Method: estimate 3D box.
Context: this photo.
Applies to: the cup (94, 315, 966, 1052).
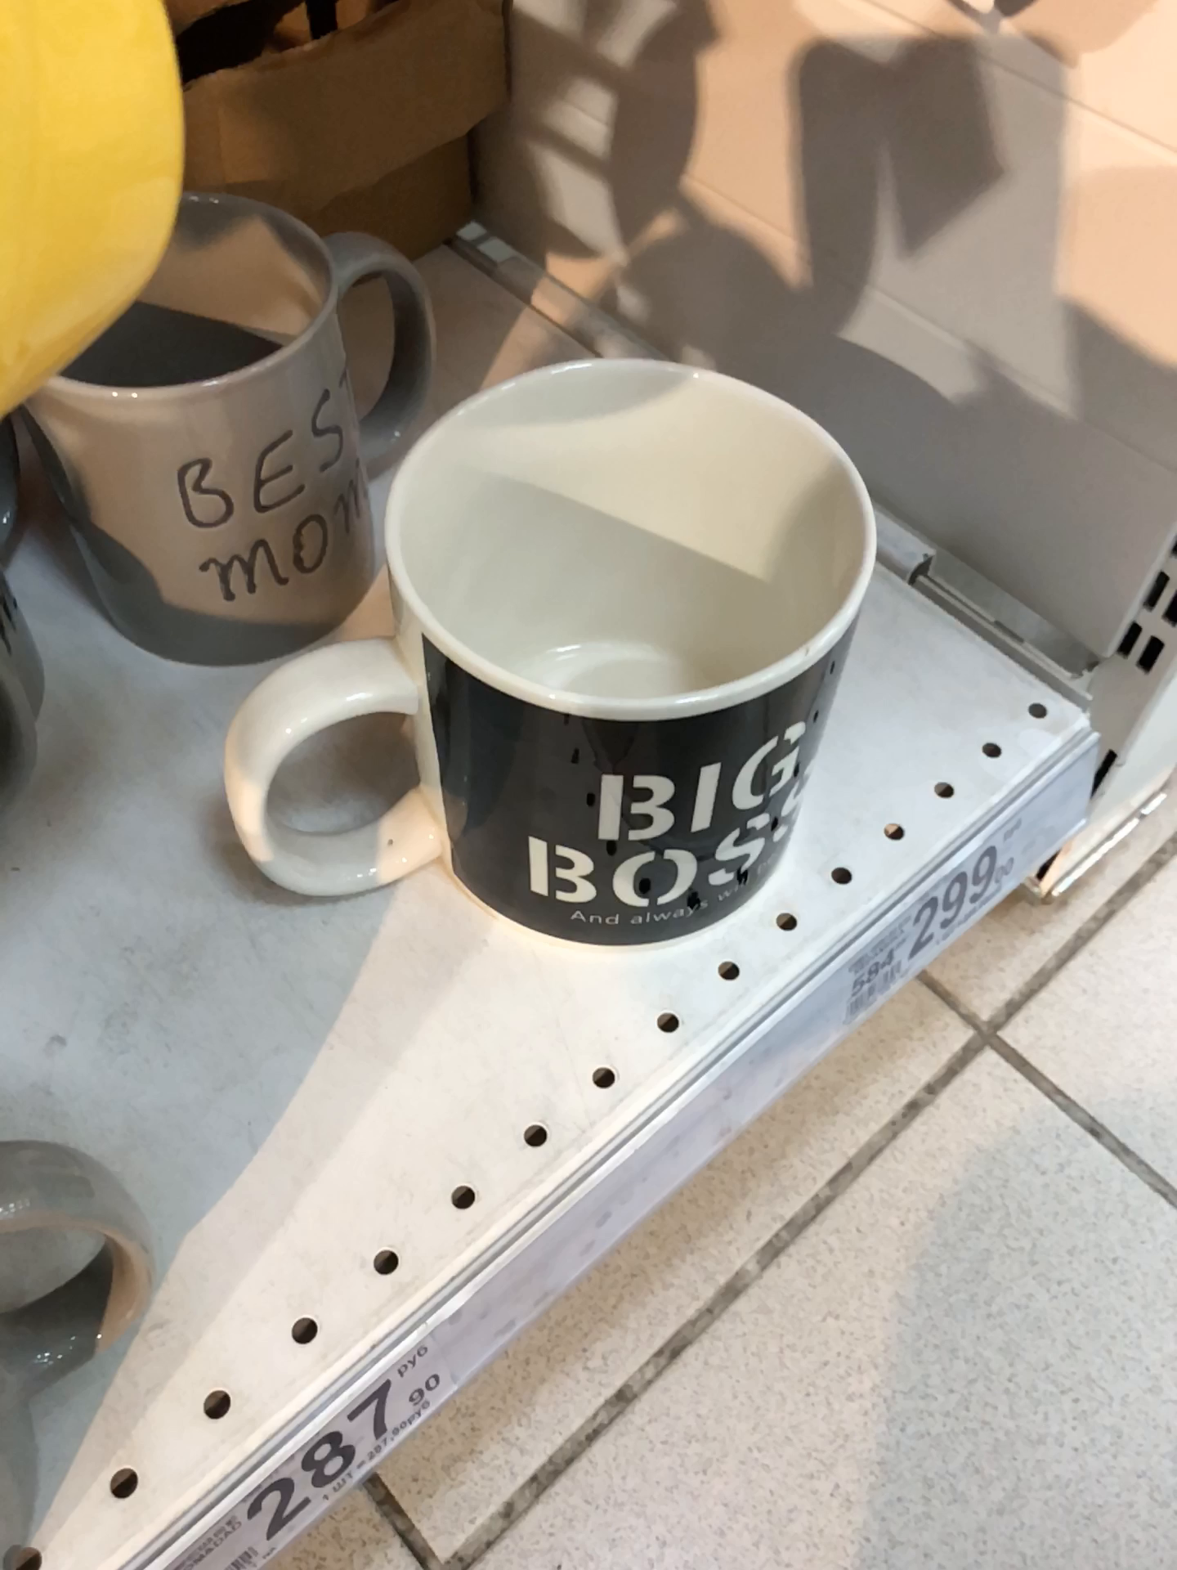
[{"bbox_3d":[-0.023,-0.029,0.369,0.189,0.122,0.128,-11,56,-10],"label":"cup"}]
